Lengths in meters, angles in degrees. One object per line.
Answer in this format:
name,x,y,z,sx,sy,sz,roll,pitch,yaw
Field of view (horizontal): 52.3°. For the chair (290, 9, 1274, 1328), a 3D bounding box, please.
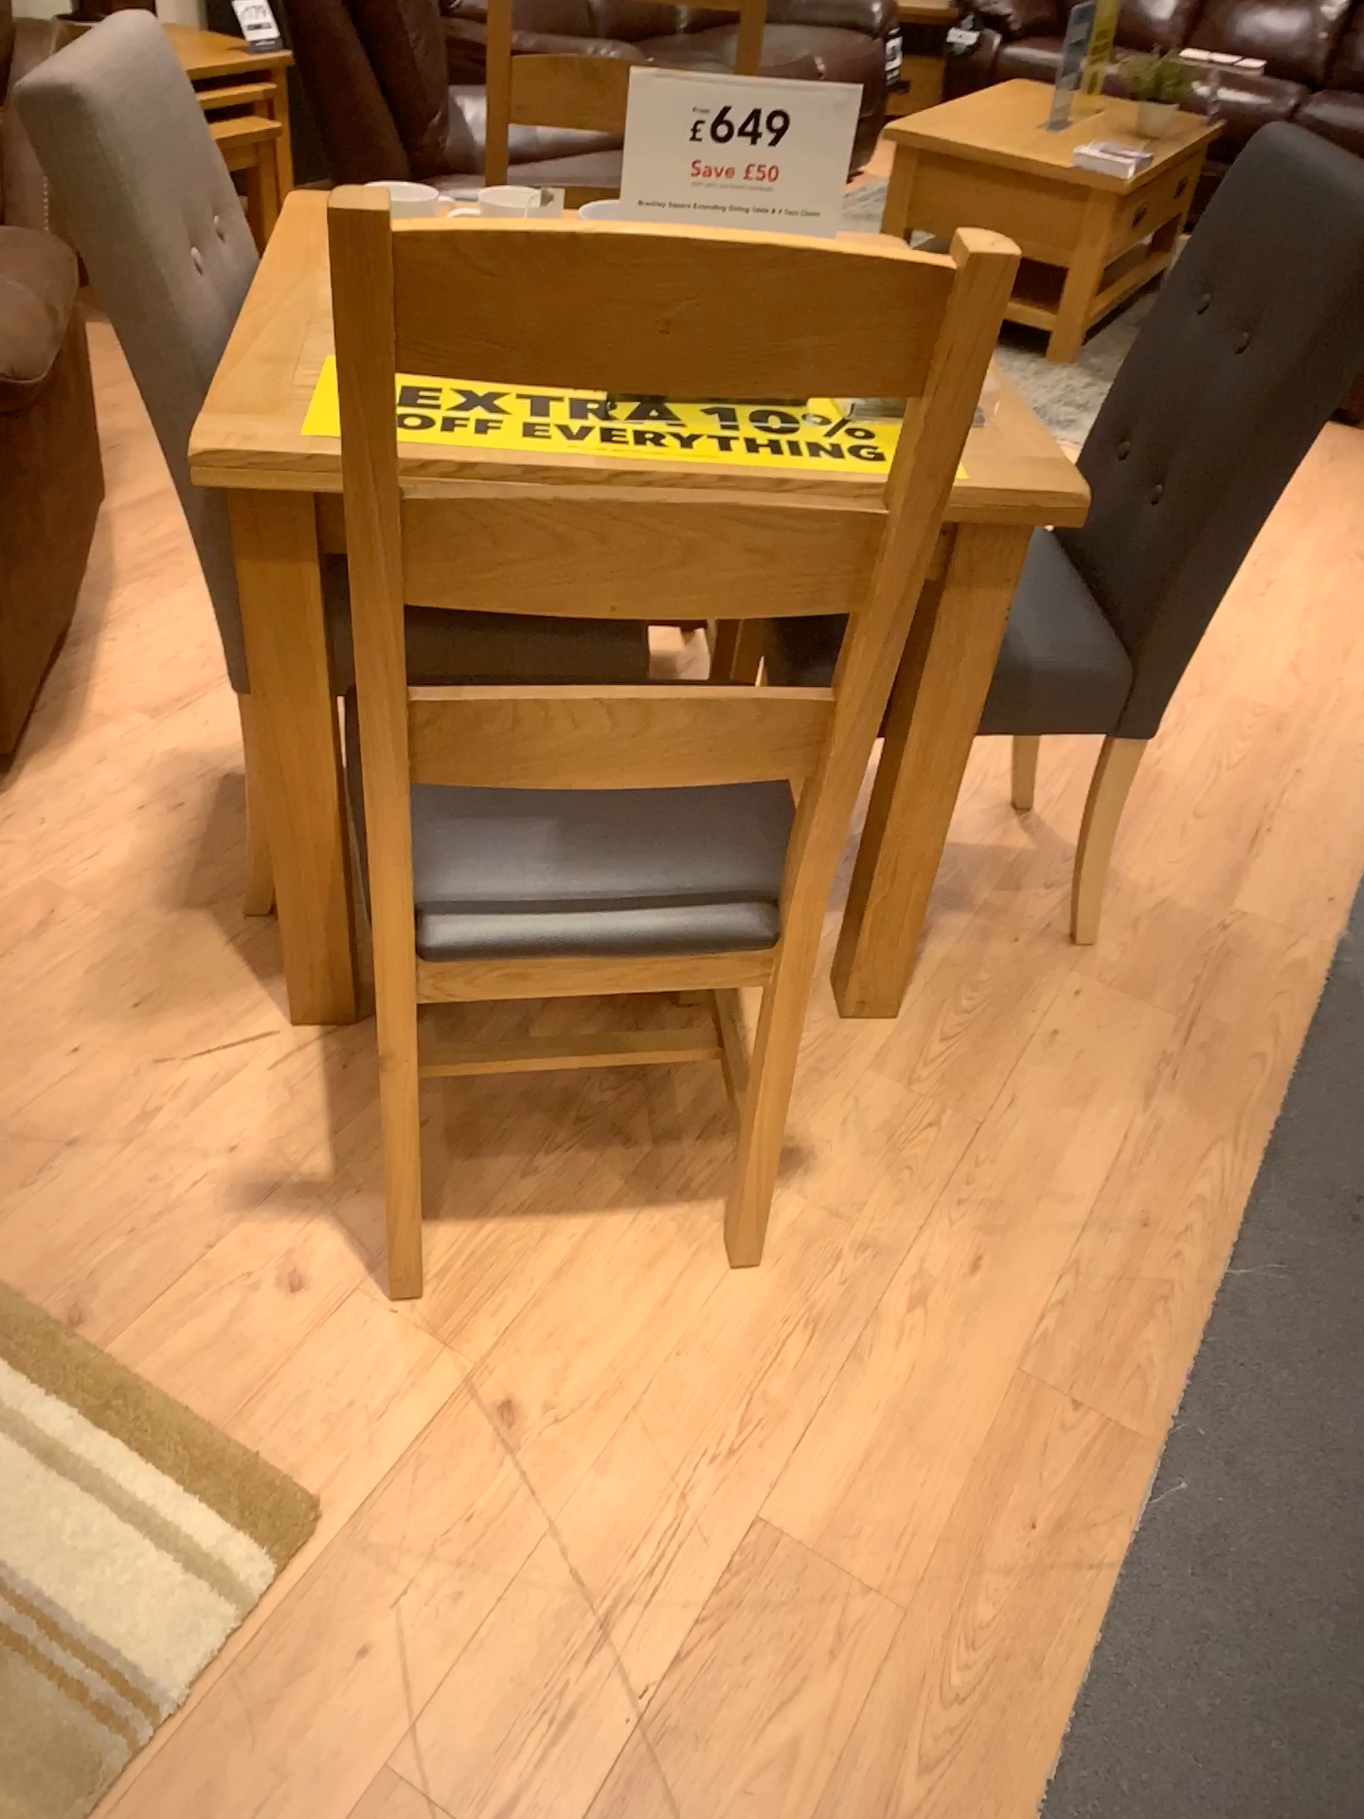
chair,-0.039,-0.179,1.262,0.554,0.958,0.582,-2,40,-13
